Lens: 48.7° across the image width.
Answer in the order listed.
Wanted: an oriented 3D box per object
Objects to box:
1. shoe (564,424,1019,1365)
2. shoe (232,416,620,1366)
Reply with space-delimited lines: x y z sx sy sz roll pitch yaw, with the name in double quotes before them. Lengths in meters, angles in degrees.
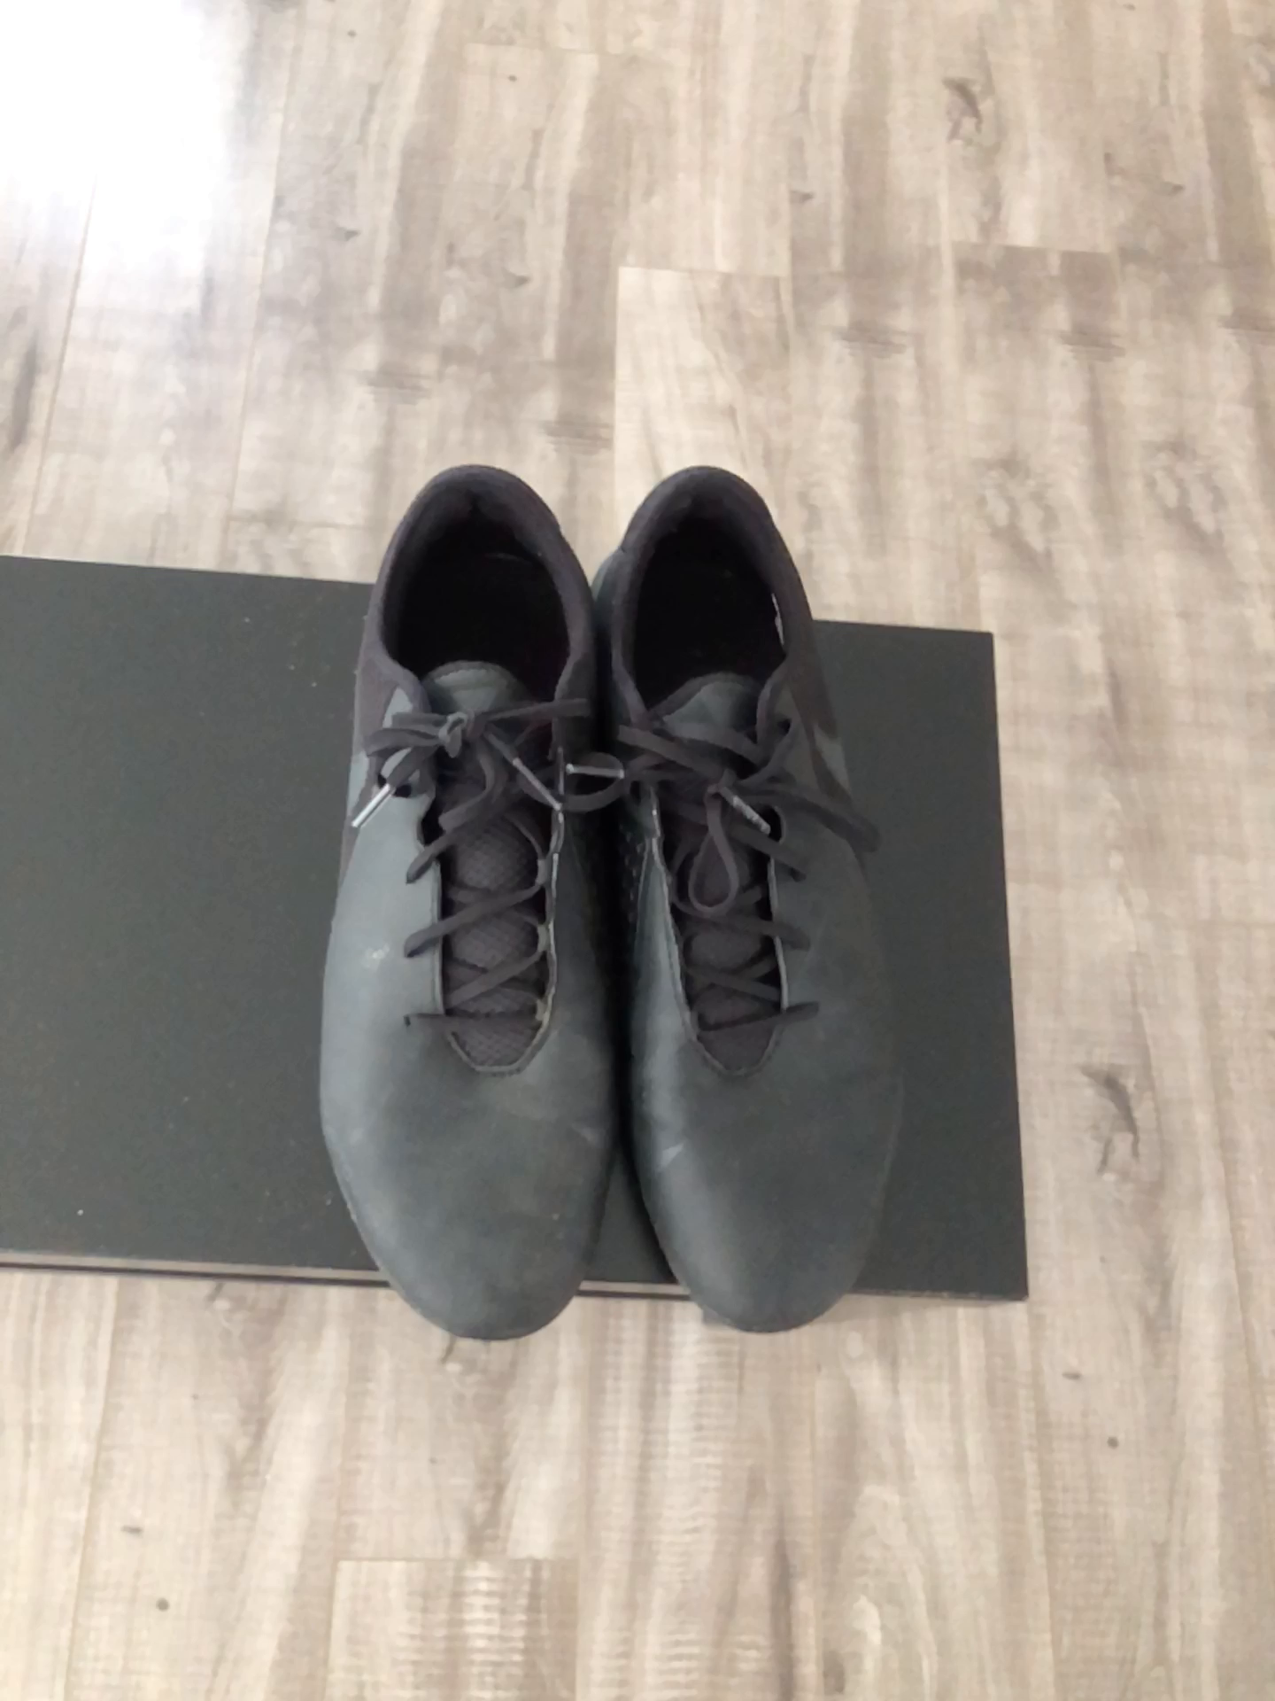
"shoe" 0.036 0.013 0.476 0.100 0.110 0.294 -2 69 -7
"shoe" -0.062 0.014 0.470 0.100 0.110 0.294 1 69 -5
